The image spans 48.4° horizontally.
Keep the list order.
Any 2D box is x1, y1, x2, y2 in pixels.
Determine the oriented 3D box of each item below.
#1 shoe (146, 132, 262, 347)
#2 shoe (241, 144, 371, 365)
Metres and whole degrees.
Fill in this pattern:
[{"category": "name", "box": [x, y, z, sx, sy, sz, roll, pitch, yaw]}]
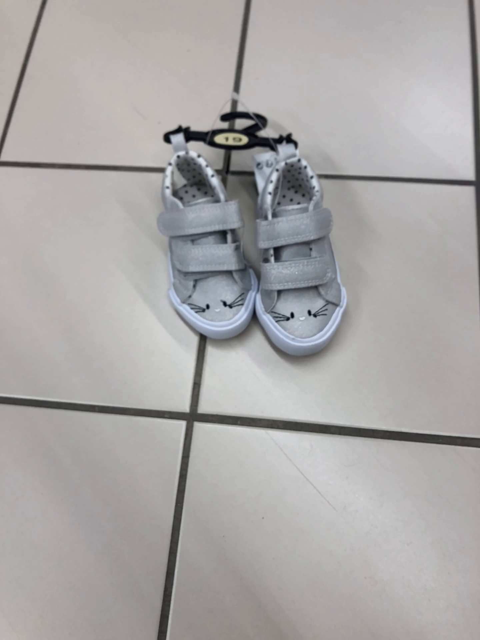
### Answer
[{"category": "shoe", "box": [-0.026, -0.058, 0.387, 0.059, 0.053, 0.138, -10, 70, 1]}, {"category": "shoe", "box": [0.043, -0.046, 0.378, 0.064, 0.053, 0.138, -8, 70, 2]}]
